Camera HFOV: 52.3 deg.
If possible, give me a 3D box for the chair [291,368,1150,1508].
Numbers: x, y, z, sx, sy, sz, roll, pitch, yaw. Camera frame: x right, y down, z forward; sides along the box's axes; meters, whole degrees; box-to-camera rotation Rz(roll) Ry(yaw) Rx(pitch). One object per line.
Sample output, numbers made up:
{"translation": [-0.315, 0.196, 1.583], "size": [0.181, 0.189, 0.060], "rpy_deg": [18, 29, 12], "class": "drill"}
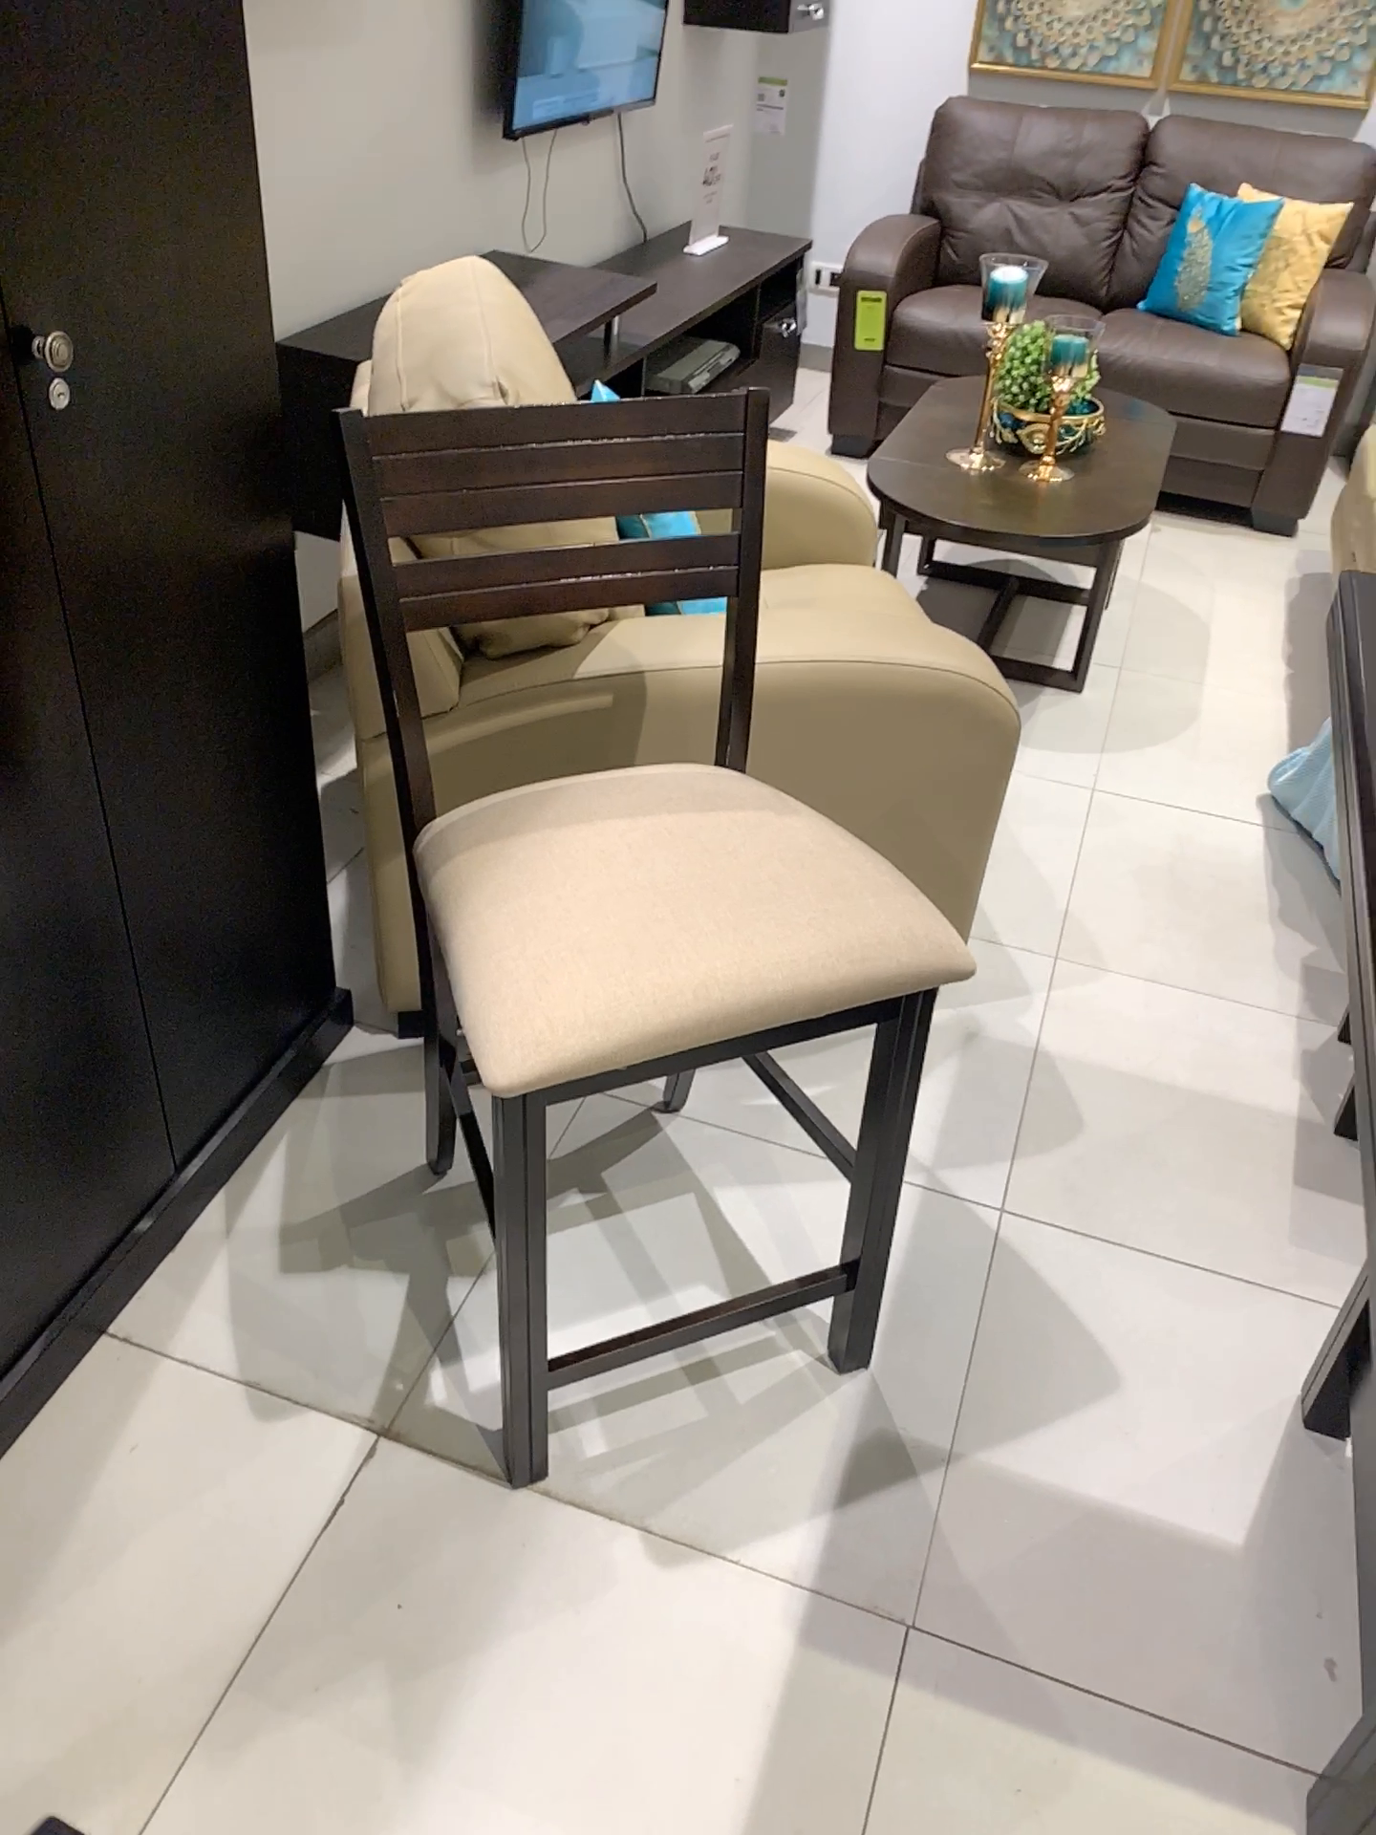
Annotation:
{"translation": [-0.039, 0.002, 1.443], "size": [0.520, 0.916, 0.592], "rpy_deg": [-12, 39, -22], "class": "chair"}
